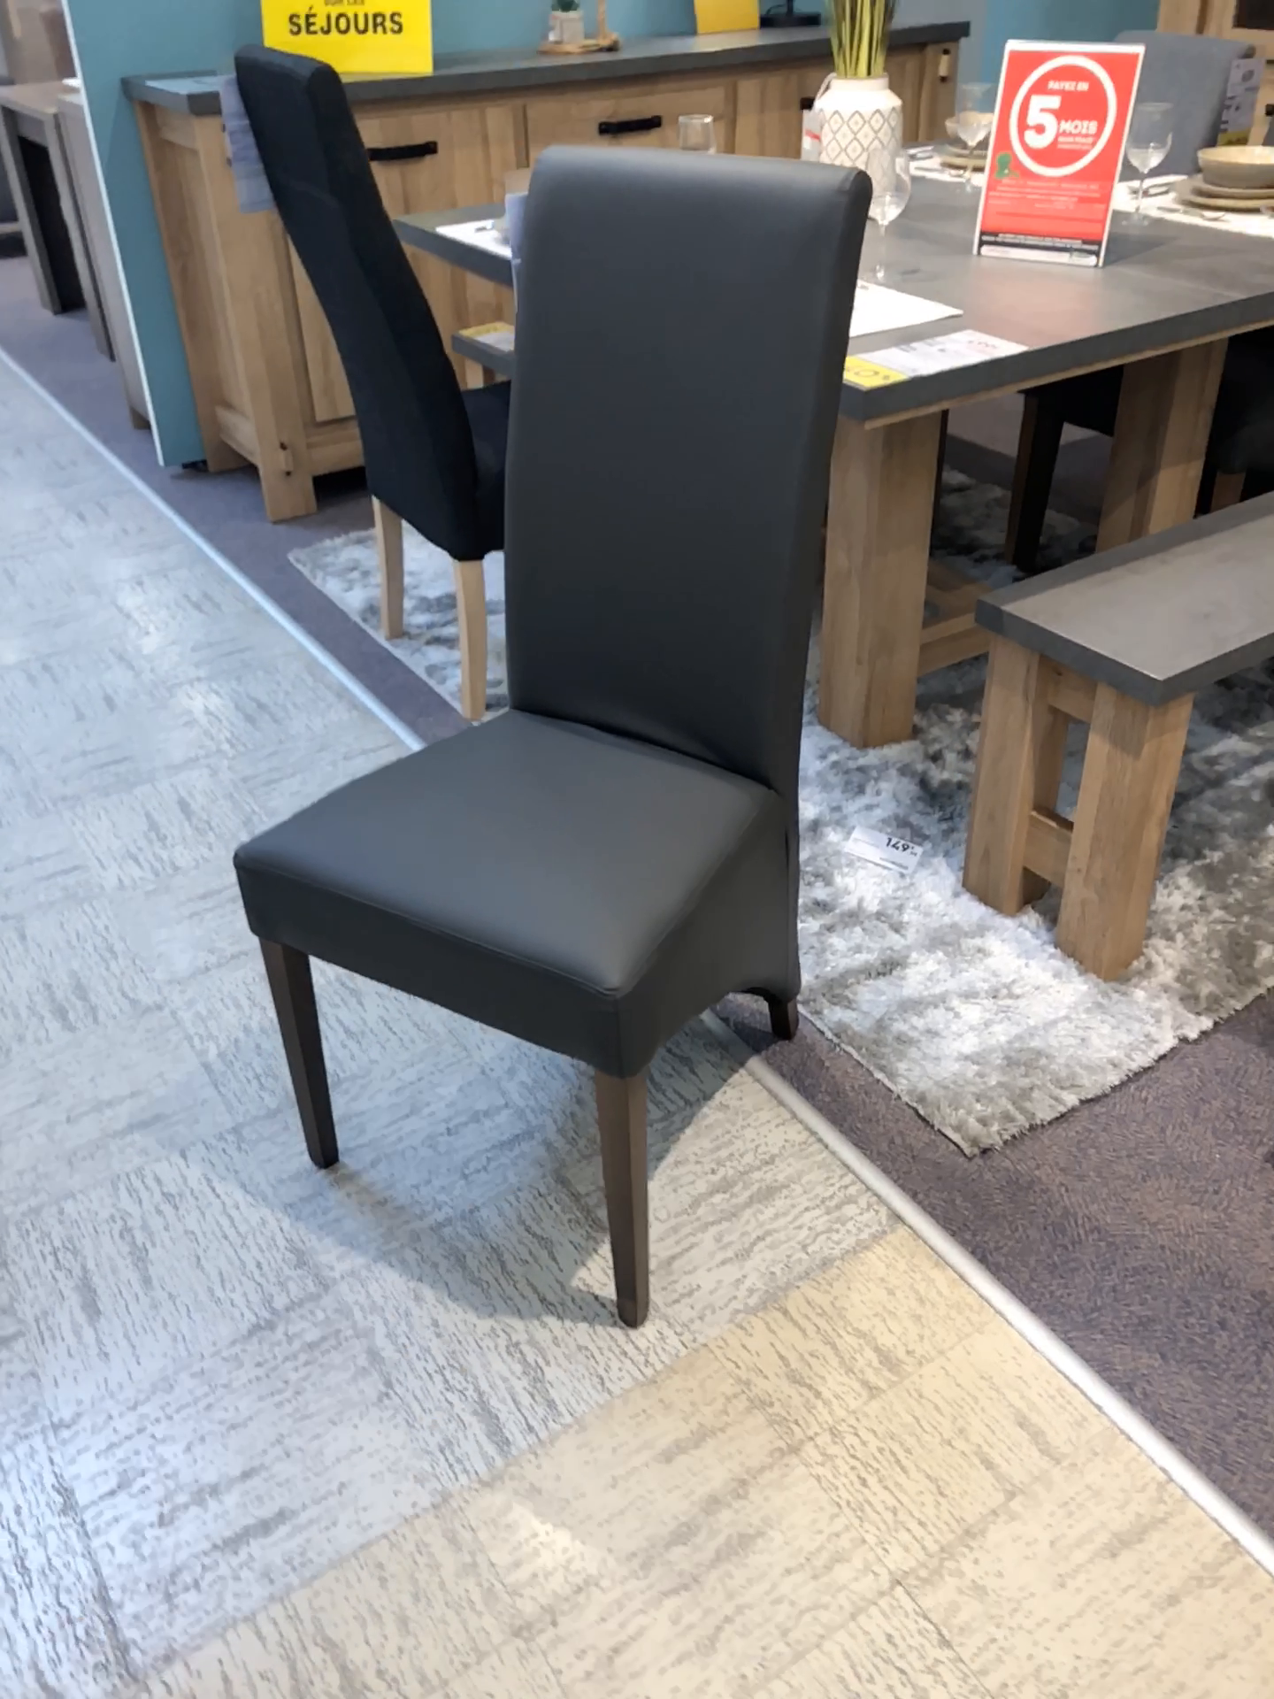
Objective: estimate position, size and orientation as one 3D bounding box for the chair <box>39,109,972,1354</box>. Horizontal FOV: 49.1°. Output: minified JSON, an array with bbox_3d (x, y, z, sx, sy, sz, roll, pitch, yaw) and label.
[{"bbox_3d":[-0.065,-0.137,1.408,0.520,1.014,0.574,17,38,26],"label":"chair"}]
